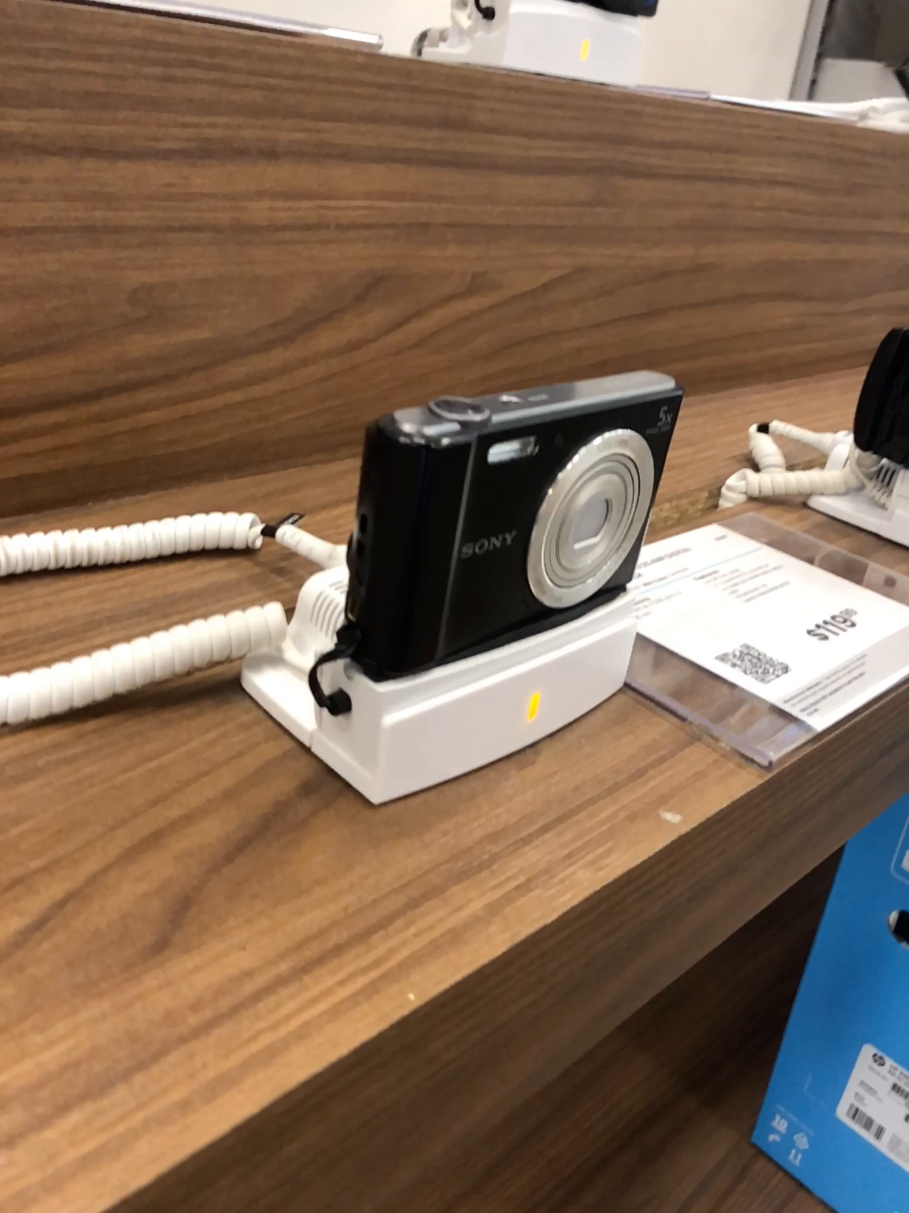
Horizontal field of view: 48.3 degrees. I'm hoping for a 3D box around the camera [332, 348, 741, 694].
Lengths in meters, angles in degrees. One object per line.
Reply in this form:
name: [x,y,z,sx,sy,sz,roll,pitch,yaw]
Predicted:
camera: [0.021,-0.024,0.235,0.100,0.060,0.020,-18,42,-41]
